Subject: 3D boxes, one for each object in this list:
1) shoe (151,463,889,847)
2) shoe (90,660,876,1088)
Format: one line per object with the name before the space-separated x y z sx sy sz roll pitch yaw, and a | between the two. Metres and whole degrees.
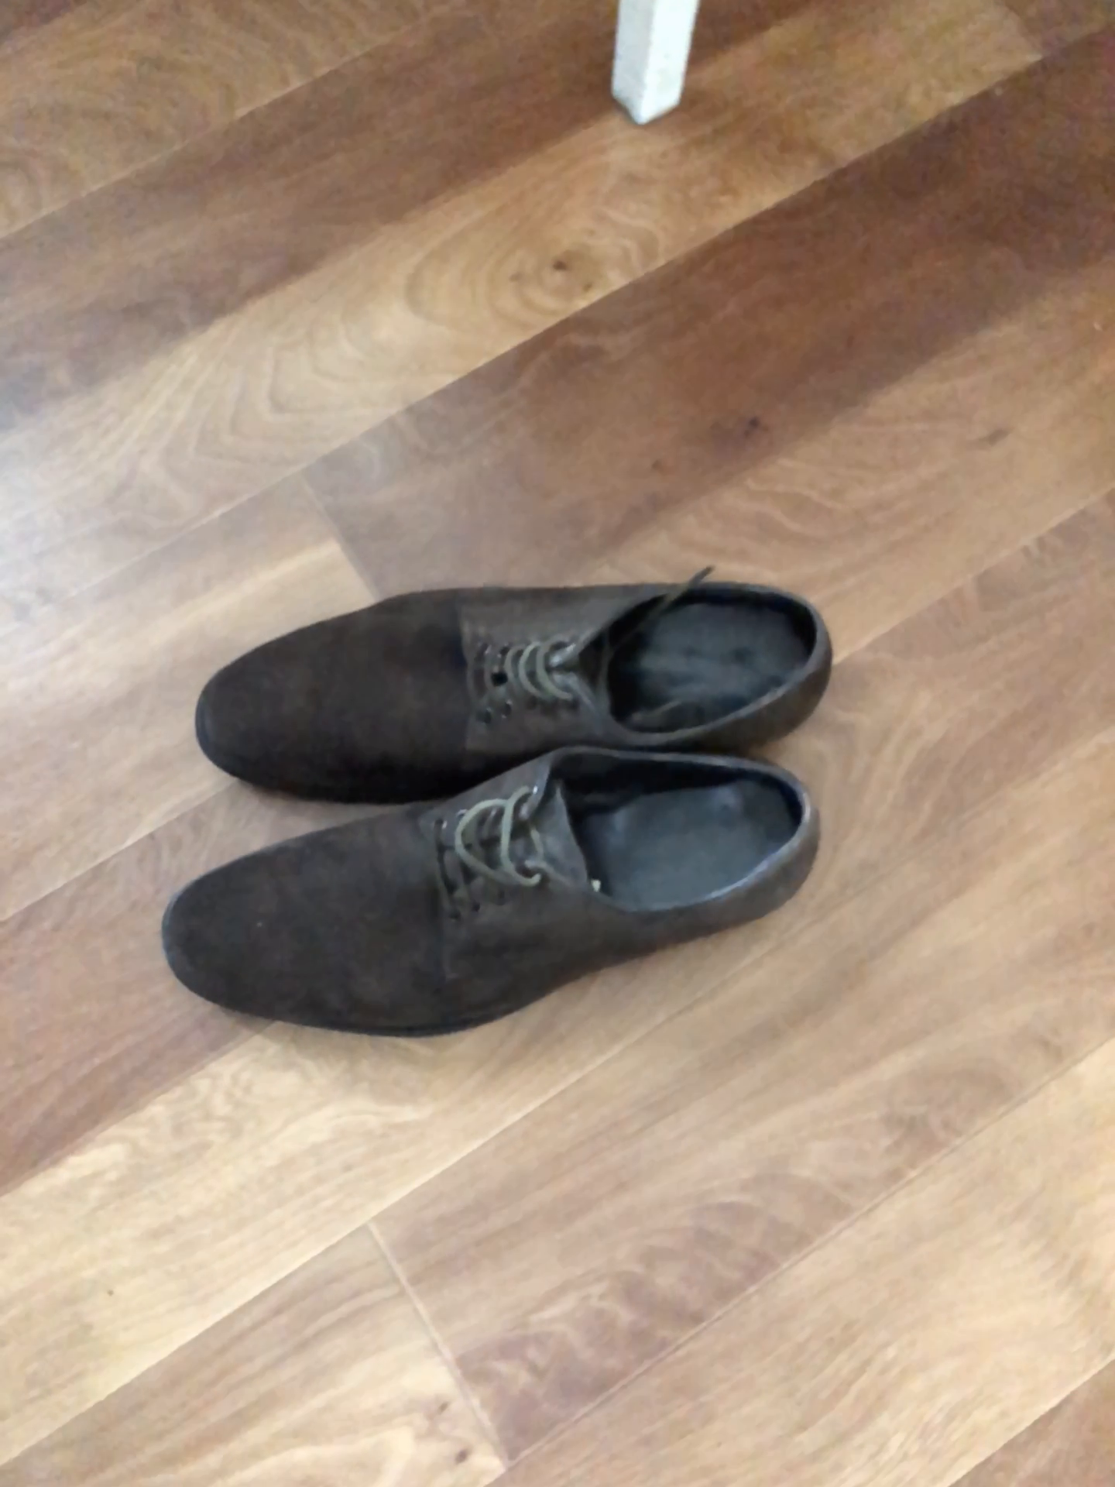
shoe | -0.020 -0.039 0.589 0.310 0.100 0.120 -7 75 -4
shoe | -0.033 0.063 0.563 0.310 0.100 0.120 -11 75 -5
